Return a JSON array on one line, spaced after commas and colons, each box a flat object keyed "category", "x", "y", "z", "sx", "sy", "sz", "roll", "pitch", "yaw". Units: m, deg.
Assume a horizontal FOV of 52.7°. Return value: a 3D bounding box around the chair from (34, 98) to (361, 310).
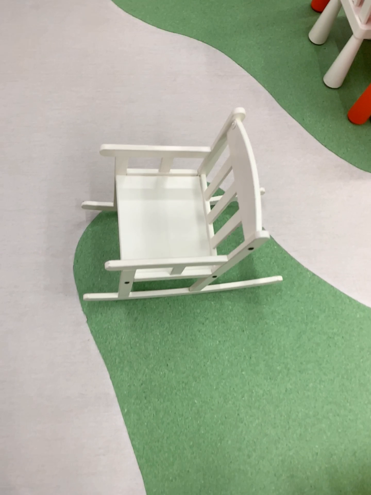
[{"category": "chair", "x": 0.007, "y": -0.093, "z": 1.132, "sx": 0.730, "sy": 0.500, "sz": 0.410, "roll": -4, "pitch": 70, "yaw": -5}]
